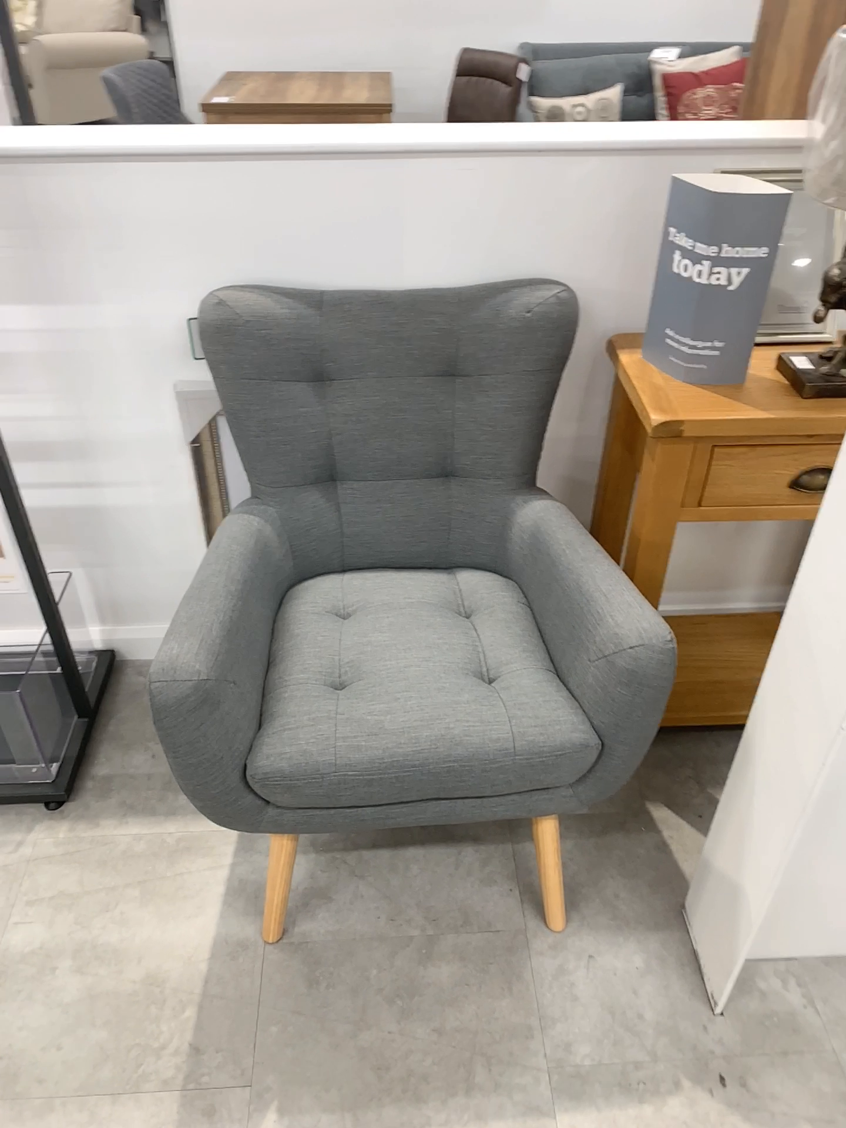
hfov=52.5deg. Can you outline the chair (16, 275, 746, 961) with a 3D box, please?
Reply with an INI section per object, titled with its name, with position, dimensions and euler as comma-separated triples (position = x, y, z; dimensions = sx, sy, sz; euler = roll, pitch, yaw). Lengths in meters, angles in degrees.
[chair]
position = -0.051, 0.096, 1.313
dimensions = 0.707, 0.878, 0.544
euler = -2, 37, -3
